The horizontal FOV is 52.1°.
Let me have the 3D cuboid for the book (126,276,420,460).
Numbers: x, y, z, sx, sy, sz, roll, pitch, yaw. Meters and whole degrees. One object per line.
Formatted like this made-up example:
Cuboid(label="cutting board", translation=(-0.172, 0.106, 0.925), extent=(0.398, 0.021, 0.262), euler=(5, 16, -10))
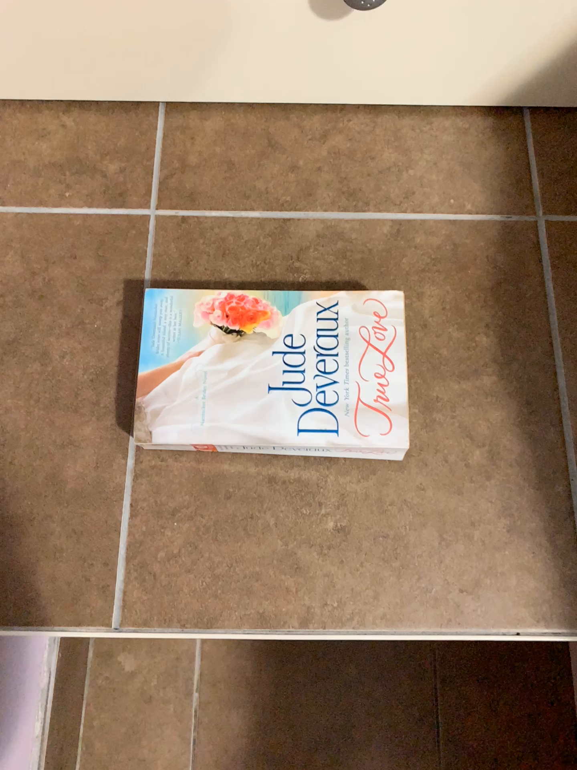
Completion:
Cuboid(label="book", translation=(-0.007, -0.010, 0.397), extent=(0.179, 0.047, 0.106), euler=(3, 73, 0))
